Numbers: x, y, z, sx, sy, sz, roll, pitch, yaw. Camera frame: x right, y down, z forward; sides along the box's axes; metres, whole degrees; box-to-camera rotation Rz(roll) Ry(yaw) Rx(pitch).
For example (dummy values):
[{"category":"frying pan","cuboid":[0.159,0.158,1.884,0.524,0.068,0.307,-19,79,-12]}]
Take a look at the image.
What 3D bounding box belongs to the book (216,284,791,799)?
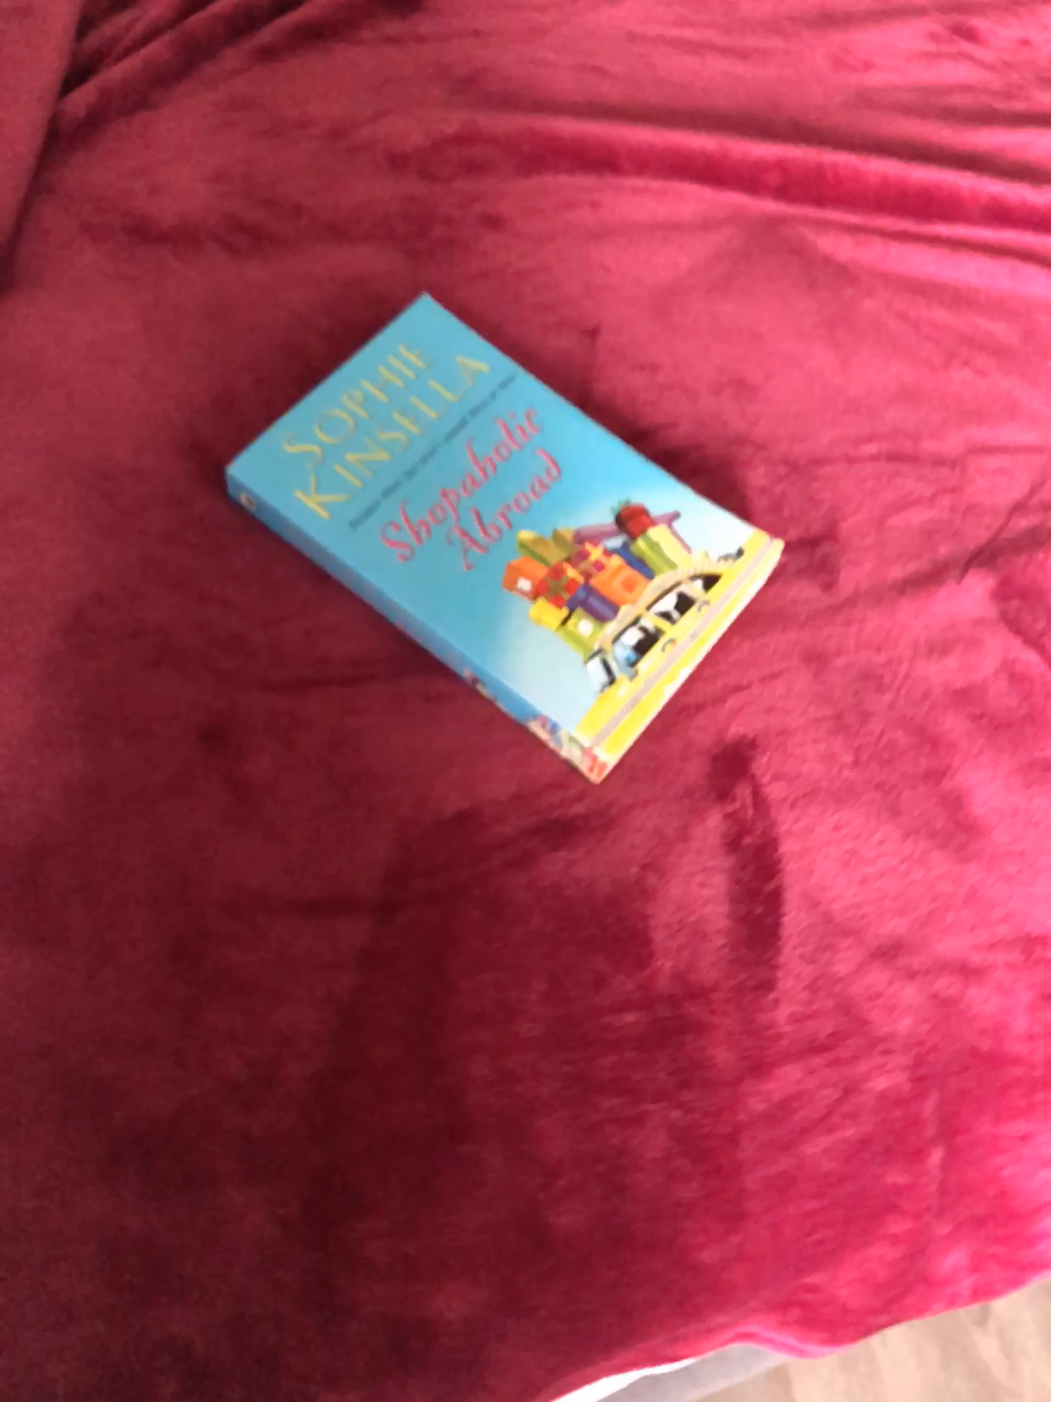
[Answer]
[{"category":"book","cuboid":[-0.008,-0.073,0.494,0.200,0.035,0.130,38,66,8]}]
